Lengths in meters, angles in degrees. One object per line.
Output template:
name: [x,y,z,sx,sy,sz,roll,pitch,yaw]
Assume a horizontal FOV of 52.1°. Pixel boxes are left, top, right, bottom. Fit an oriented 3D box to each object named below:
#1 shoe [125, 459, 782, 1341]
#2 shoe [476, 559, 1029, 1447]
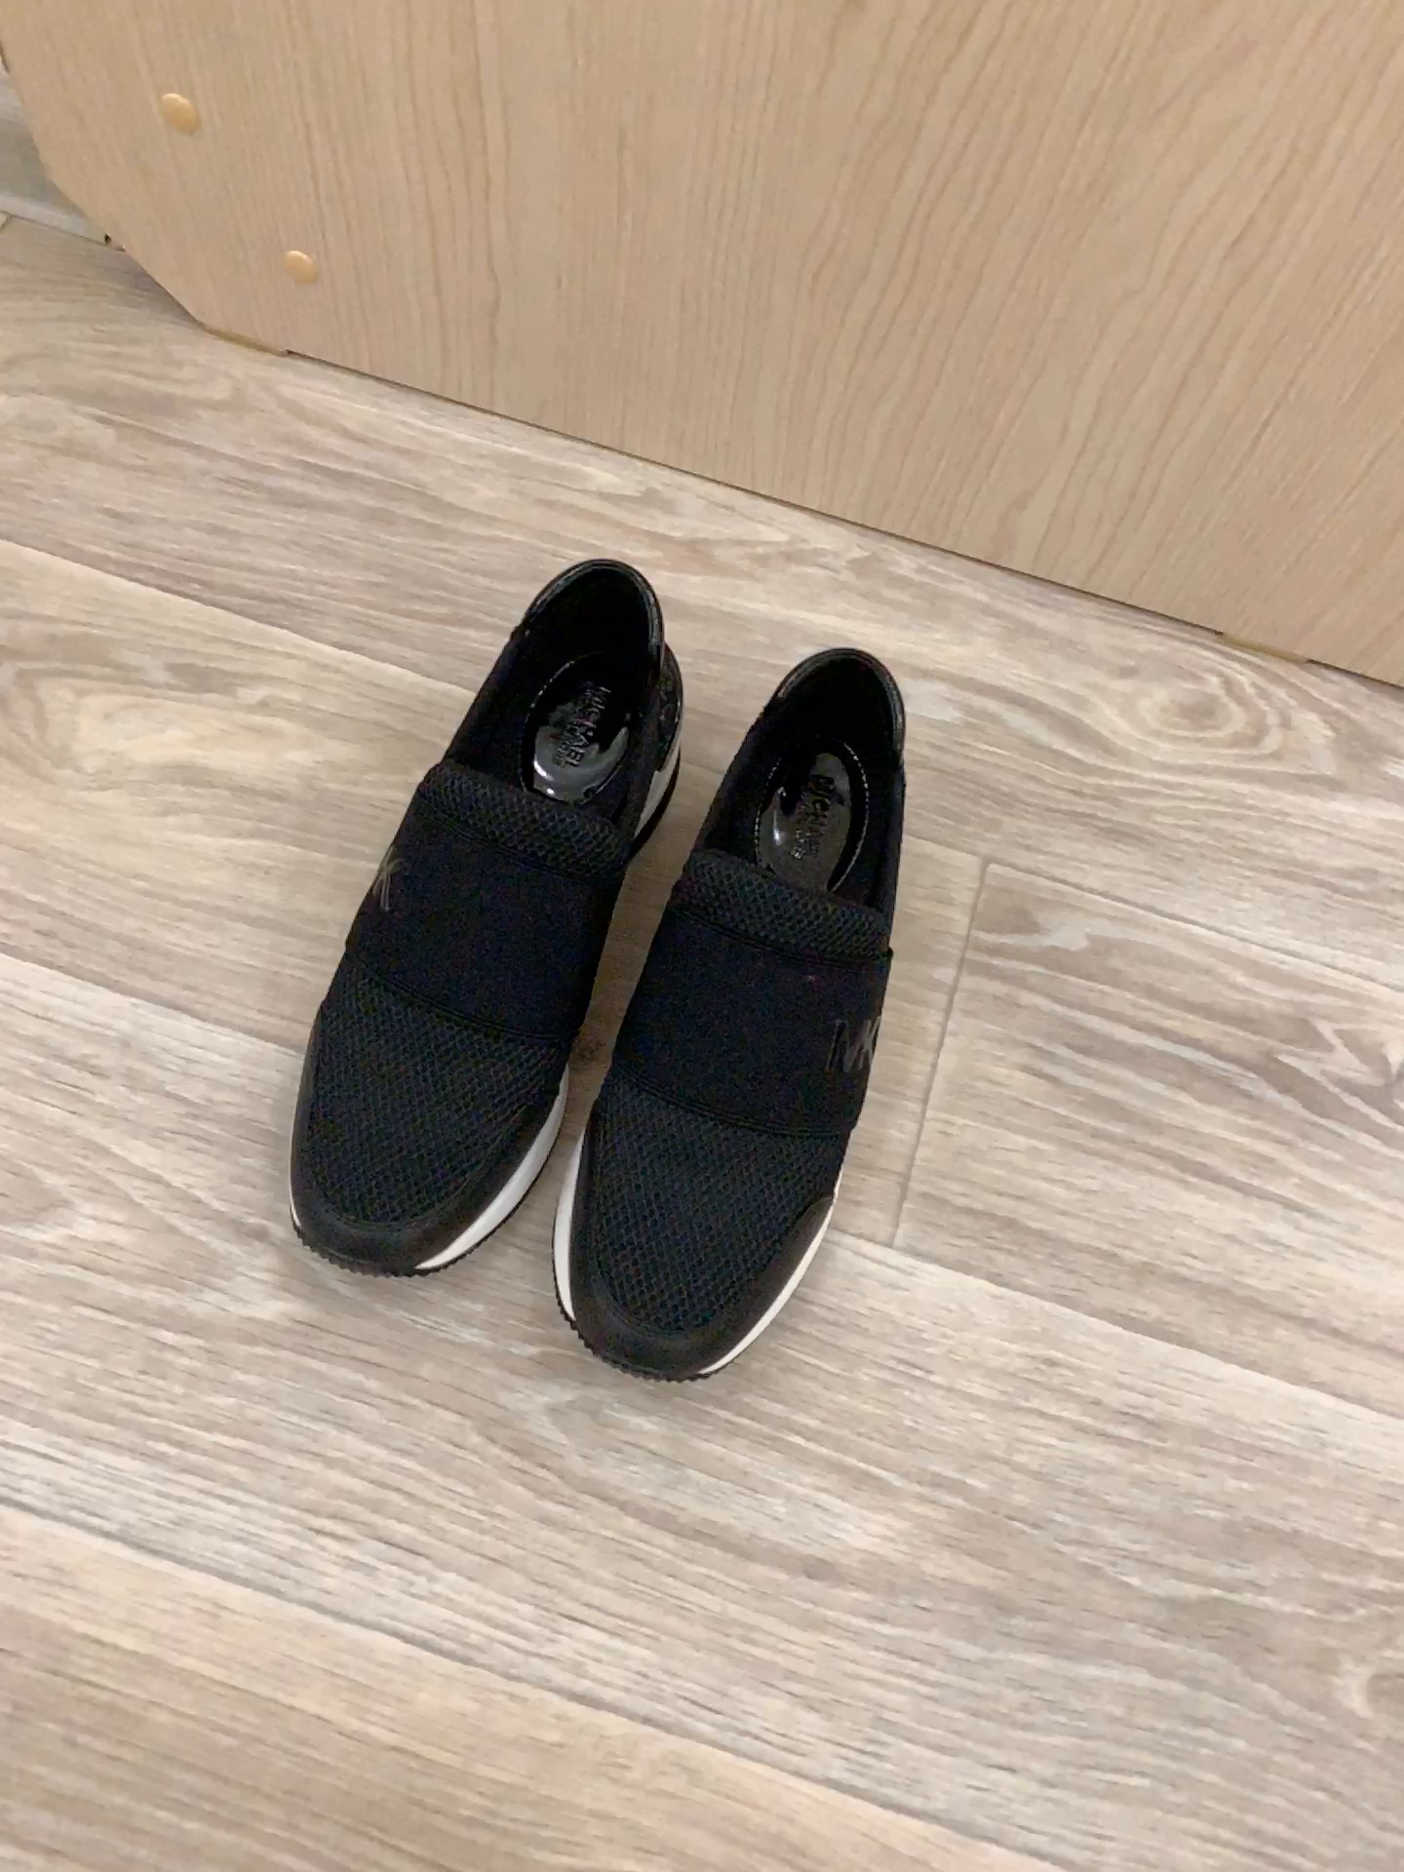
shoe: [-0.070,-0.013,0.493,0.098,0.120,0.261,21,65,3]
shoe: [0.019,0.022,0.490,0.098,0.120,0.261,18,65,2]
